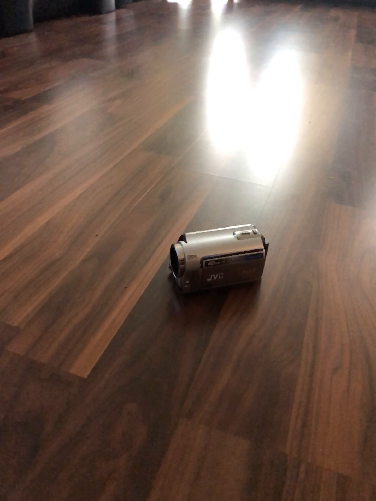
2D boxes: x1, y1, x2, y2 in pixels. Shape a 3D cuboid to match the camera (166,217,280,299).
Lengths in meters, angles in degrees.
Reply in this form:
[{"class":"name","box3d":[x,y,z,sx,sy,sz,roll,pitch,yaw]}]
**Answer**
[{"class":"camera","box3d":[0.039,0.007,0.505,0.120,0.060,0.060,-8,38,-15]}]
